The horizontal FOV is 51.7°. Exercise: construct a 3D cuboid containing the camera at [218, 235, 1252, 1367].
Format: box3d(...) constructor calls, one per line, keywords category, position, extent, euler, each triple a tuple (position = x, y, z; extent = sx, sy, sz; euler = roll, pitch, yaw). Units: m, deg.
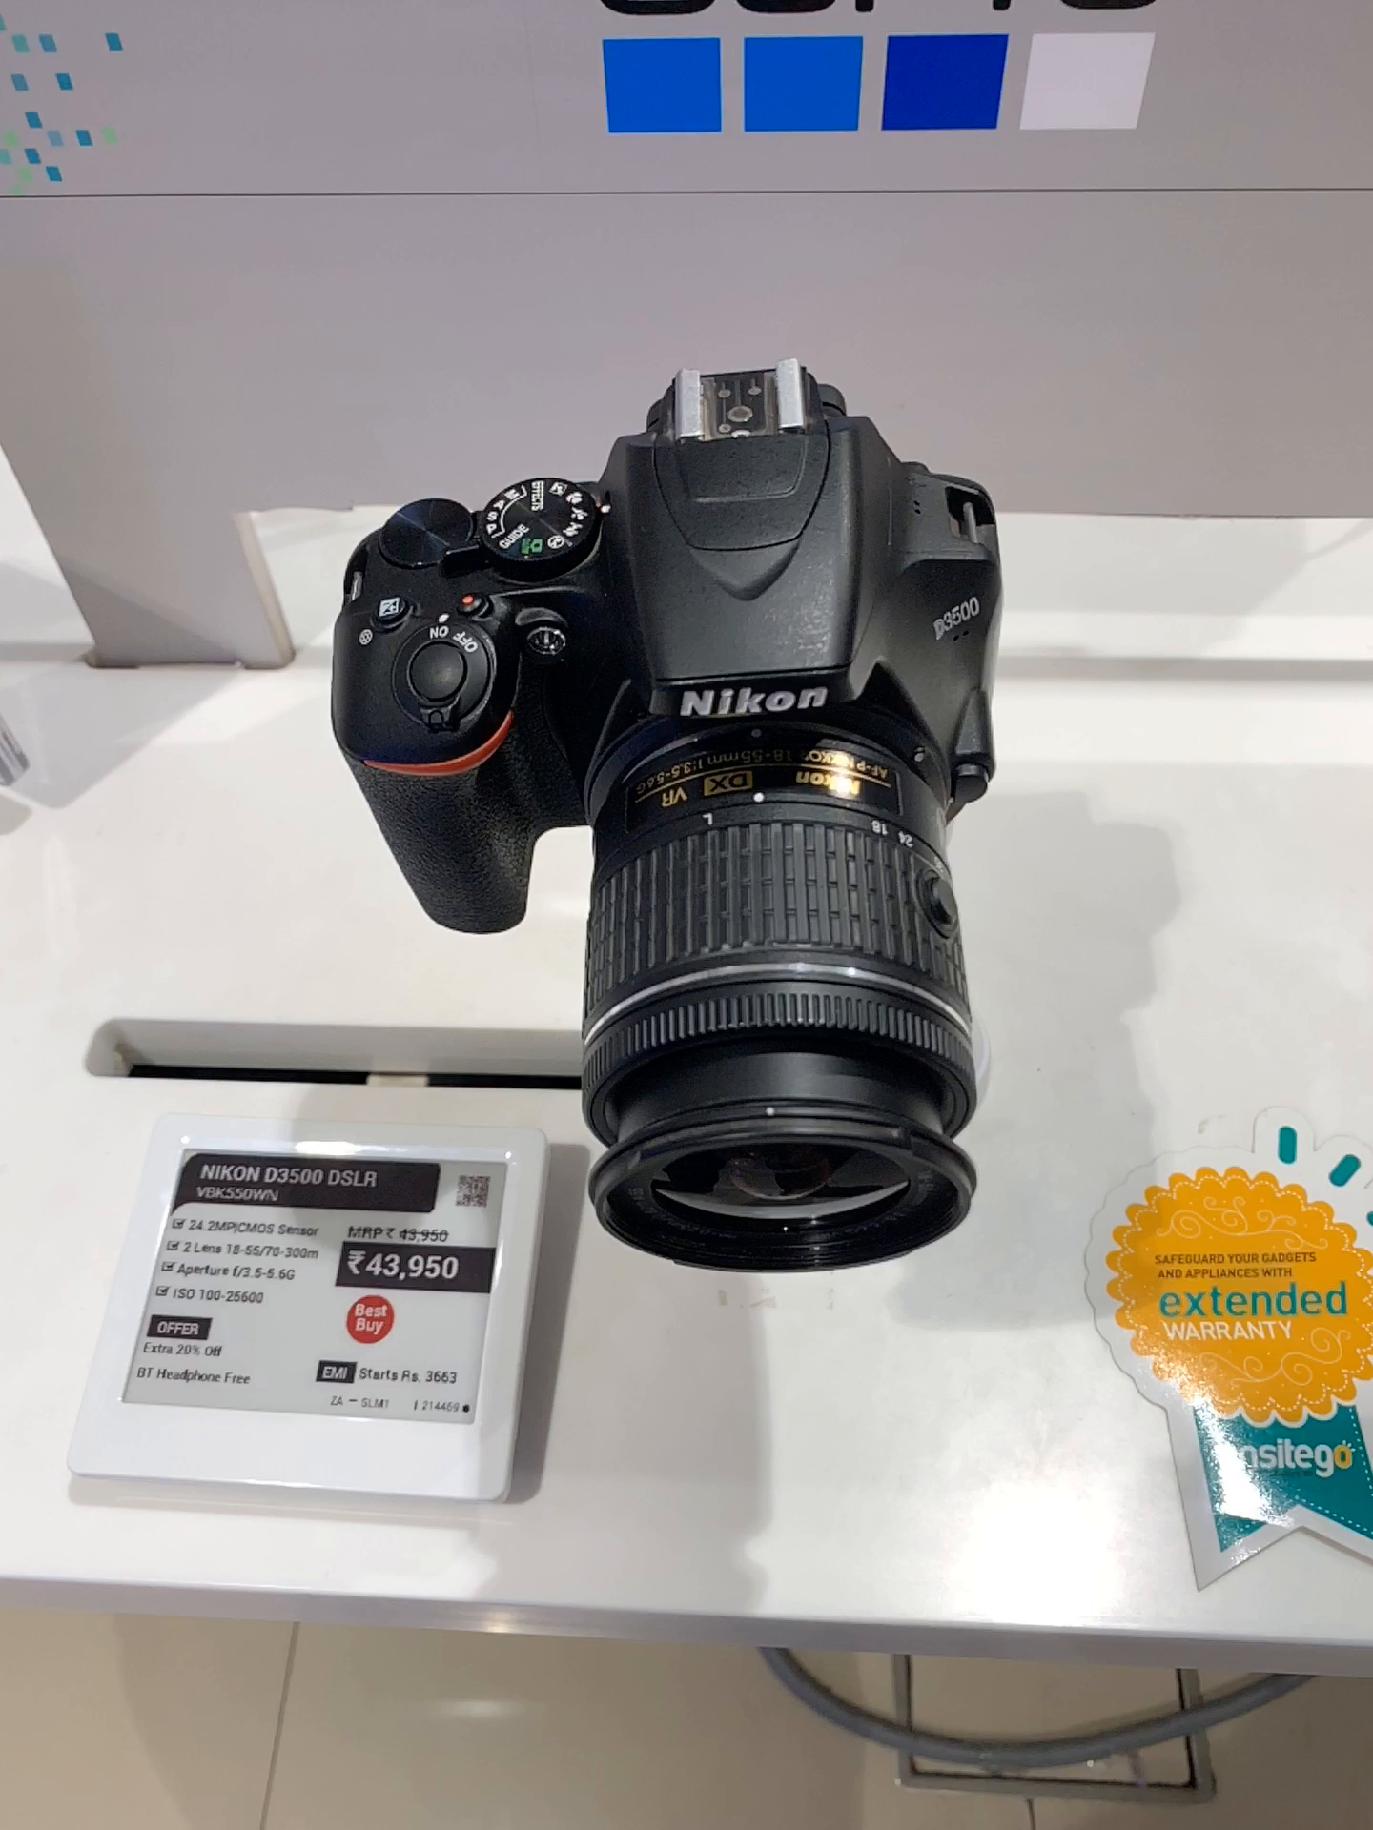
box3d(category="camera", position=(0.004, -0.027, 0.253), extent=(0.120, 0.090, 0.181), euler=(-3, 54, 1))
